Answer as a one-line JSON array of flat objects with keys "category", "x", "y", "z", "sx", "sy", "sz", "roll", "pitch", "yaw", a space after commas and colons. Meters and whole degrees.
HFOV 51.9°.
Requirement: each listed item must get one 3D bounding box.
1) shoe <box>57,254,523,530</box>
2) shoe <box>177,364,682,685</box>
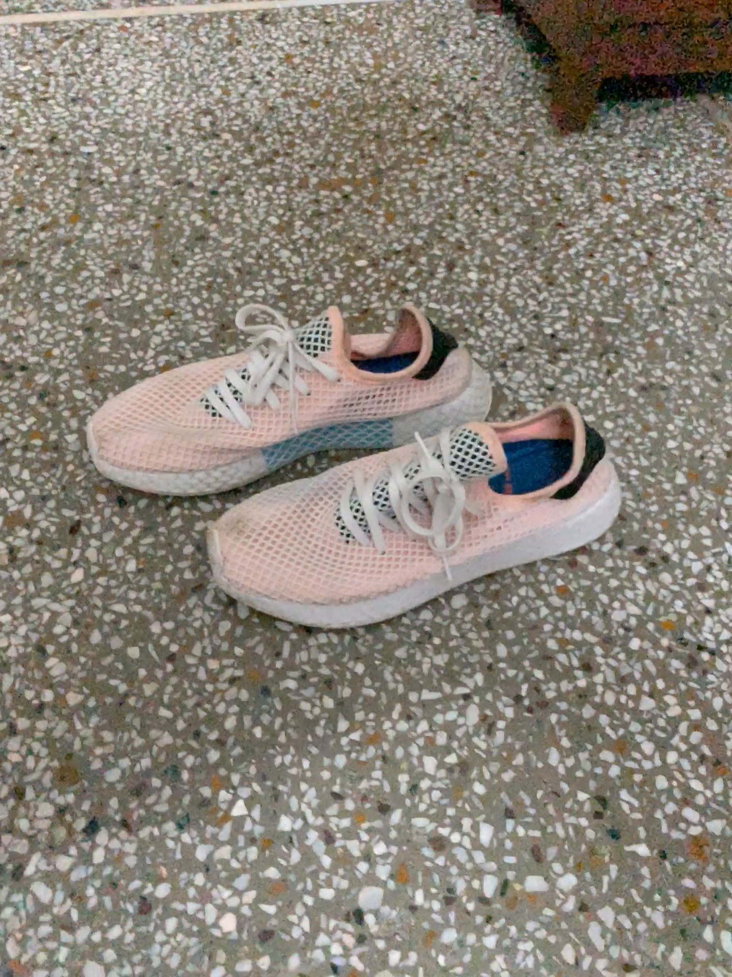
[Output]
[{"category": "shoe", "x": -0.057, "y": -0.078, "z": 0.577, "sx": 0.310, "sy": 0.100, "sz": 0.122, "roll": -12, "pitch": 59, "yaw": -12}, {"category": "shoe", "x": 0.040, "y": 0.021, "z": 0.535, "sx": 0.310, "sy": 0.100, "sz": 0.122, "roll": -14, "pitch": 60, "yaw": -13}]
